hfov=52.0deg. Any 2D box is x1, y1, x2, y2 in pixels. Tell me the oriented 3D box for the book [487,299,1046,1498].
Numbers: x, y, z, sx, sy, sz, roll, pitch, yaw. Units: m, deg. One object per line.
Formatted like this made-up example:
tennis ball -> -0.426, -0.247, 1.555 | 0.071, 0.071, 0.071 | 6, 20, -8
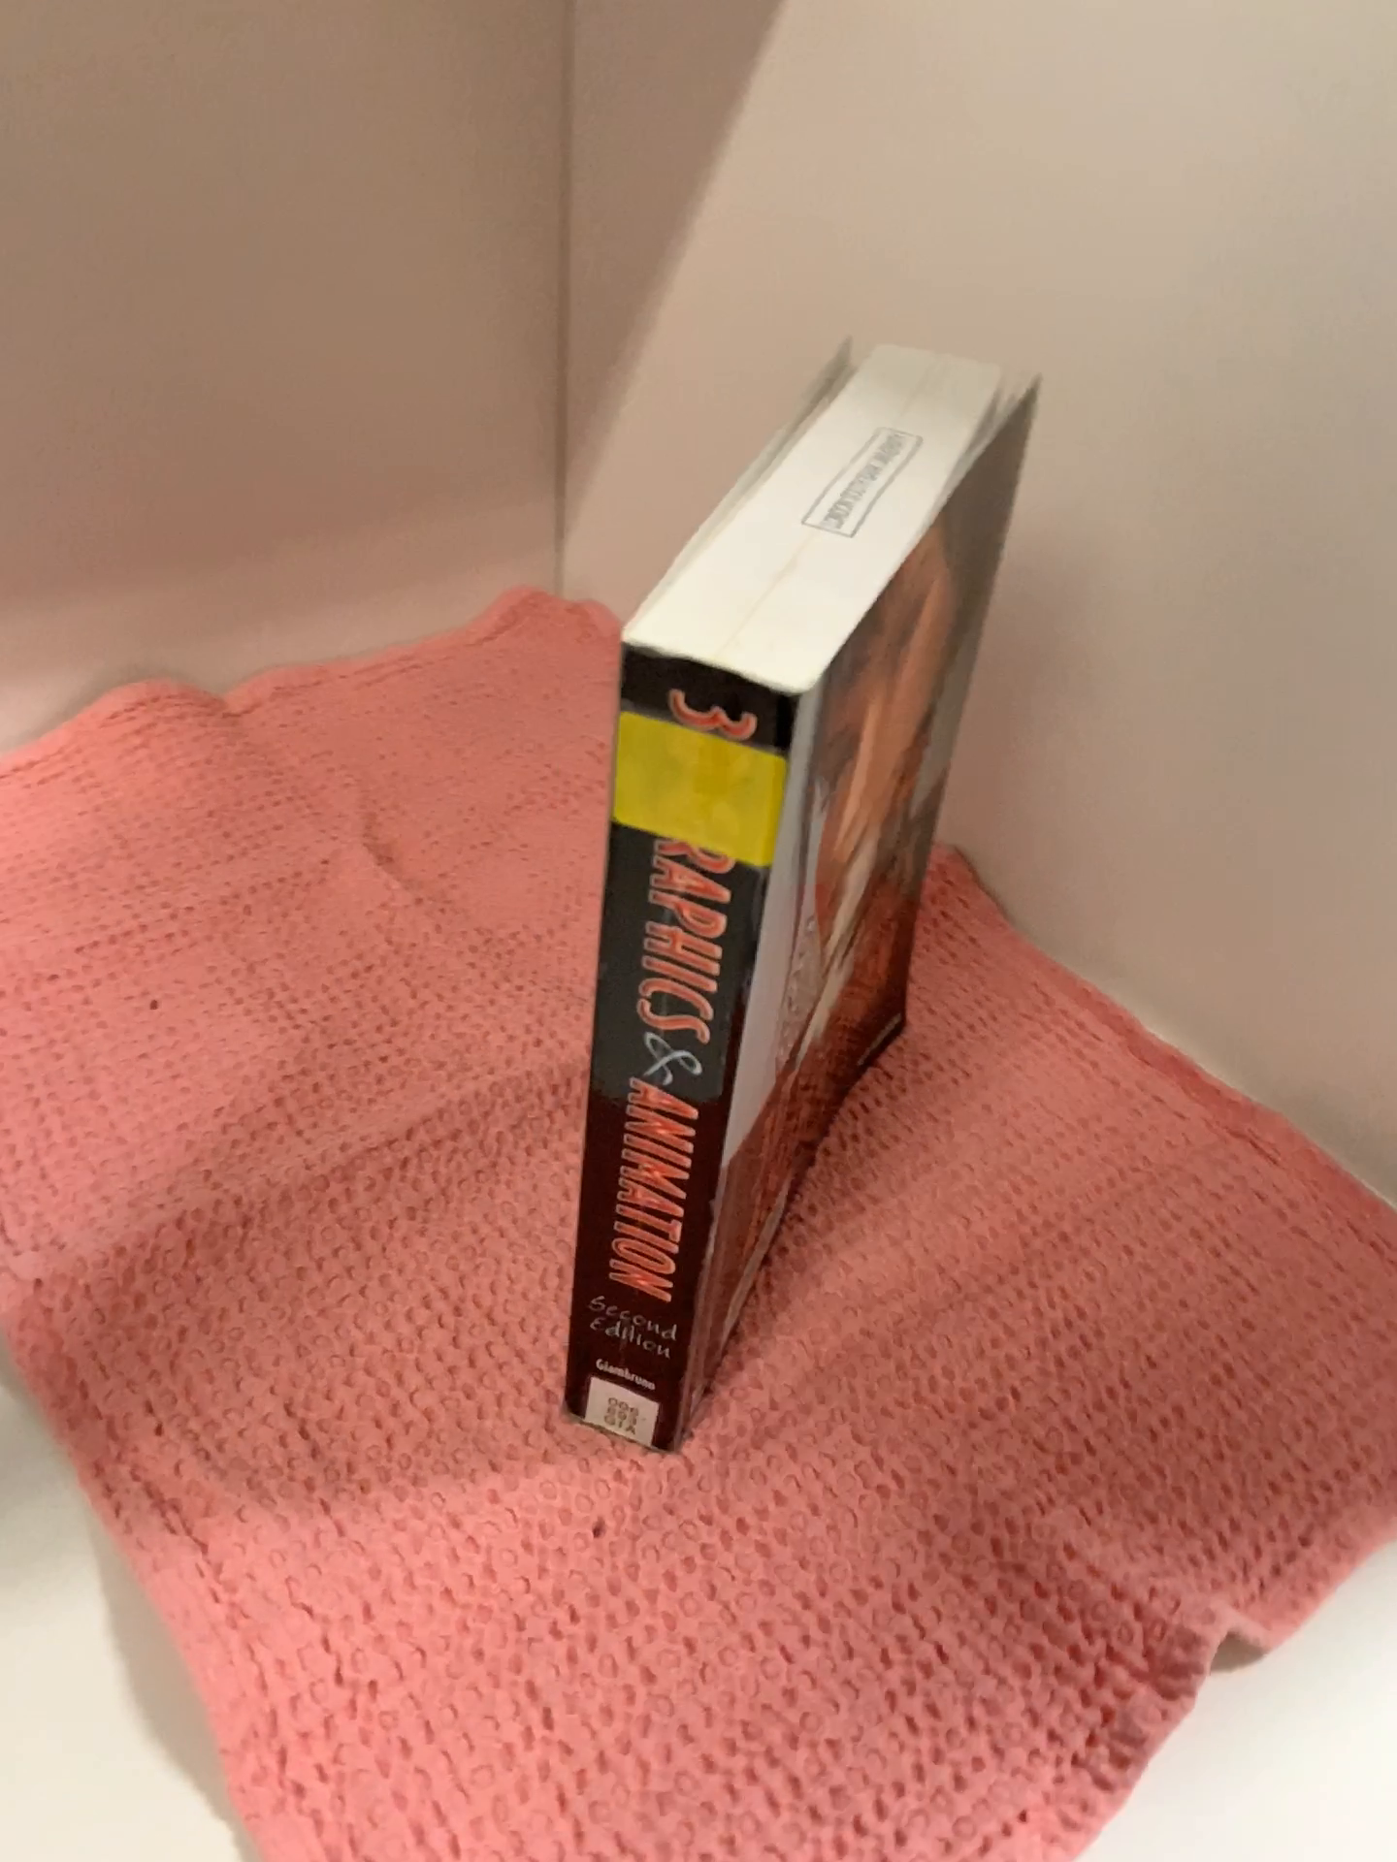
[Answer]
book -> 0.020, -0.016, 0.381 | 0.060, 0.228, 0.222 | 16, 40, 10
